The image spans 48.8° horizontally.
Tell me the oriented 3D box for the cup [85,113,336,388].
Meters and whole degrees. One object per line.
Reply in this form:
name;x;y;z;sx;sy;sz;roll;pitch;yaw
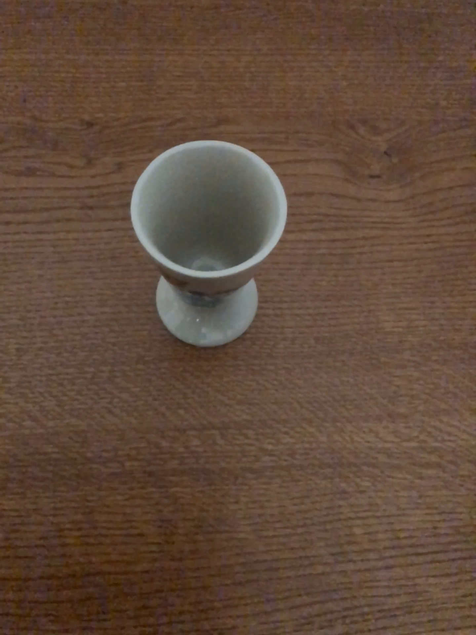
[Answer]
cup;-0.015;-0.027;0.294;0.080;0.120;0.080;1;73;-4

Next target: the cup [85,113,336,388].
cup;-0.015;-0.027;0.294;0.080;0.120;0.080;1;73;-4
